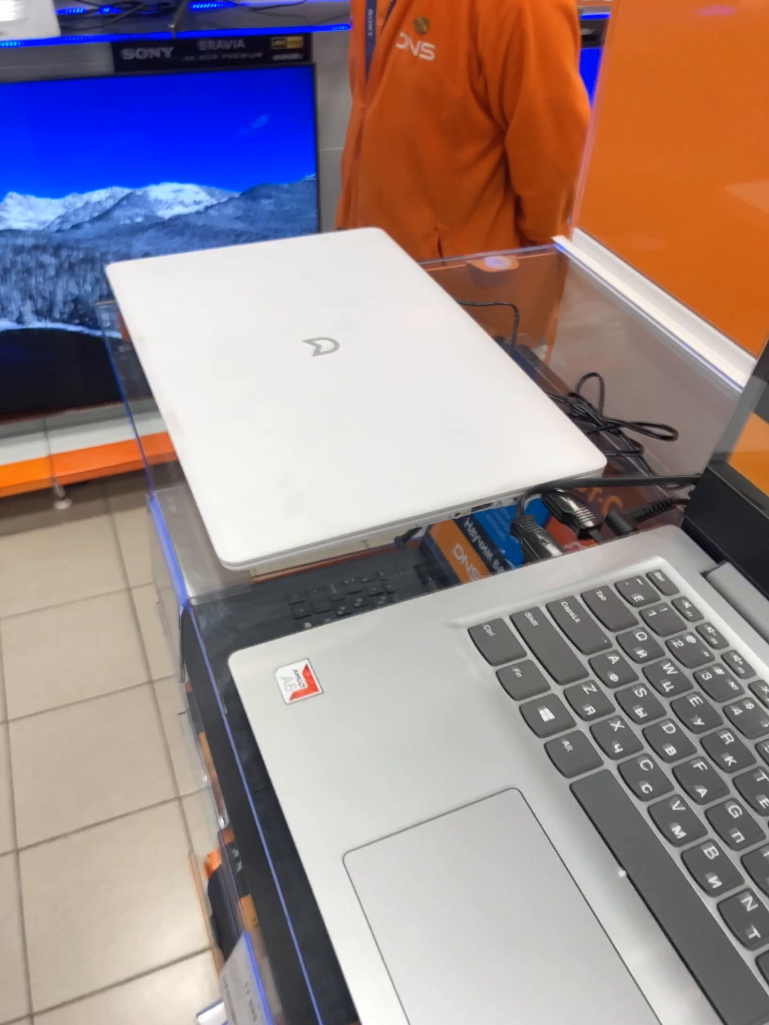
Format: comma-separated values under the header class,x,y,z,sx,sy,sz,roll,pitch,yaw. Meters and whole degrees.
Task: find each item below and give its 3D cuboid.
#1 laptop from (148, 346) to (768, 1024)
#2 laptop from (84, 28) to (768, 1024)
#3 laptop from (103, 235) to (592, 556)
class,x,y,z,sx,sy,sz,roll,pitch,yaw
laptop,0.021,0.086,0.626,0.306,0.228,0.365,-11,42,-17
laptop,0.126,0.048,0.210,0.279,0.224,0.345,-15,43,-20
laptop,-0.045,-0.101,0.537,0.212,0.002,0.314,-14,43,-18
